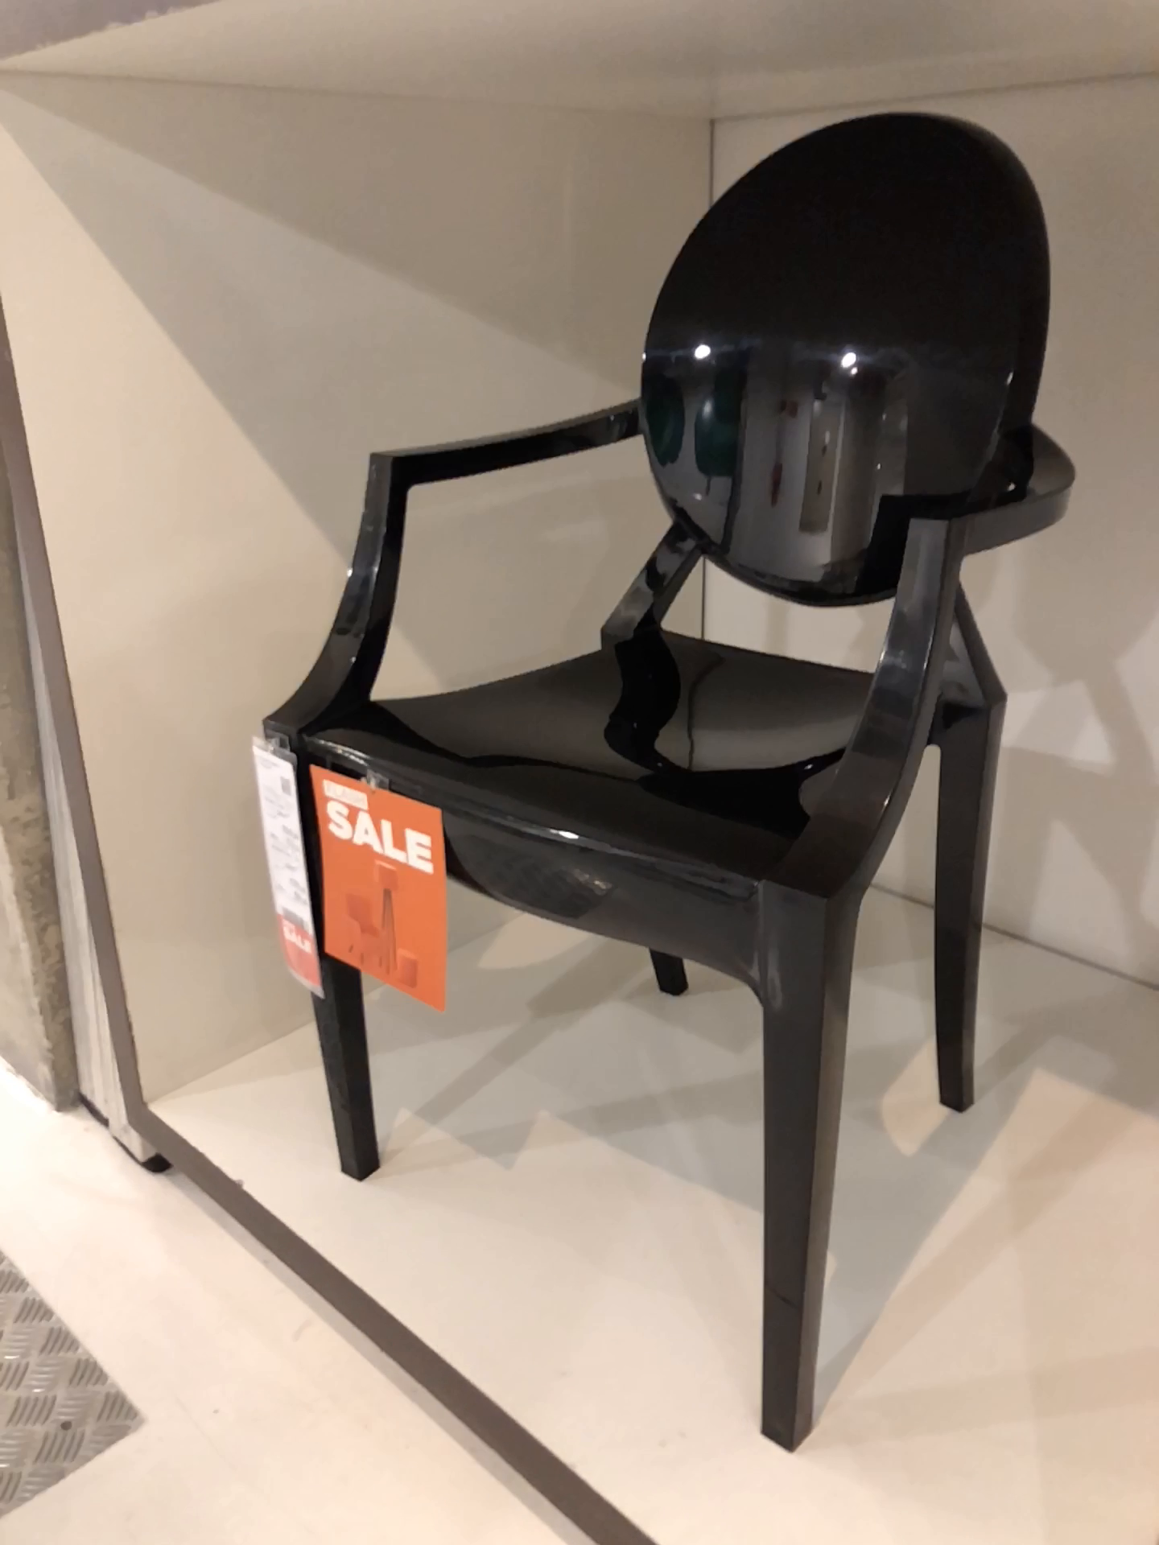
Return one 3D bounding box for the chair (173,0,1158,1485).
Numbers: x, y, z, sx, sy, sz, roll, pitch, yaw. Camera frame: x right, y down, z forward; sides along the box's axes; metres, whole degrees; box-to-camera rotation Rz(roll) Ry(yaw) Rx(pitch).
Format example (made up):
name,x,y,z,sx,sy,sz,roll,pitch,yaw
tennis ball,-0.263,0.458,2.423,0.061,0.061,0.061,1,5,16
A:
name,x,y,z,sx,sy,sz,roll,pitch,yaw
chair,0.102,-0.062,1.010,0.511,0.854,0.492,16,28,37
